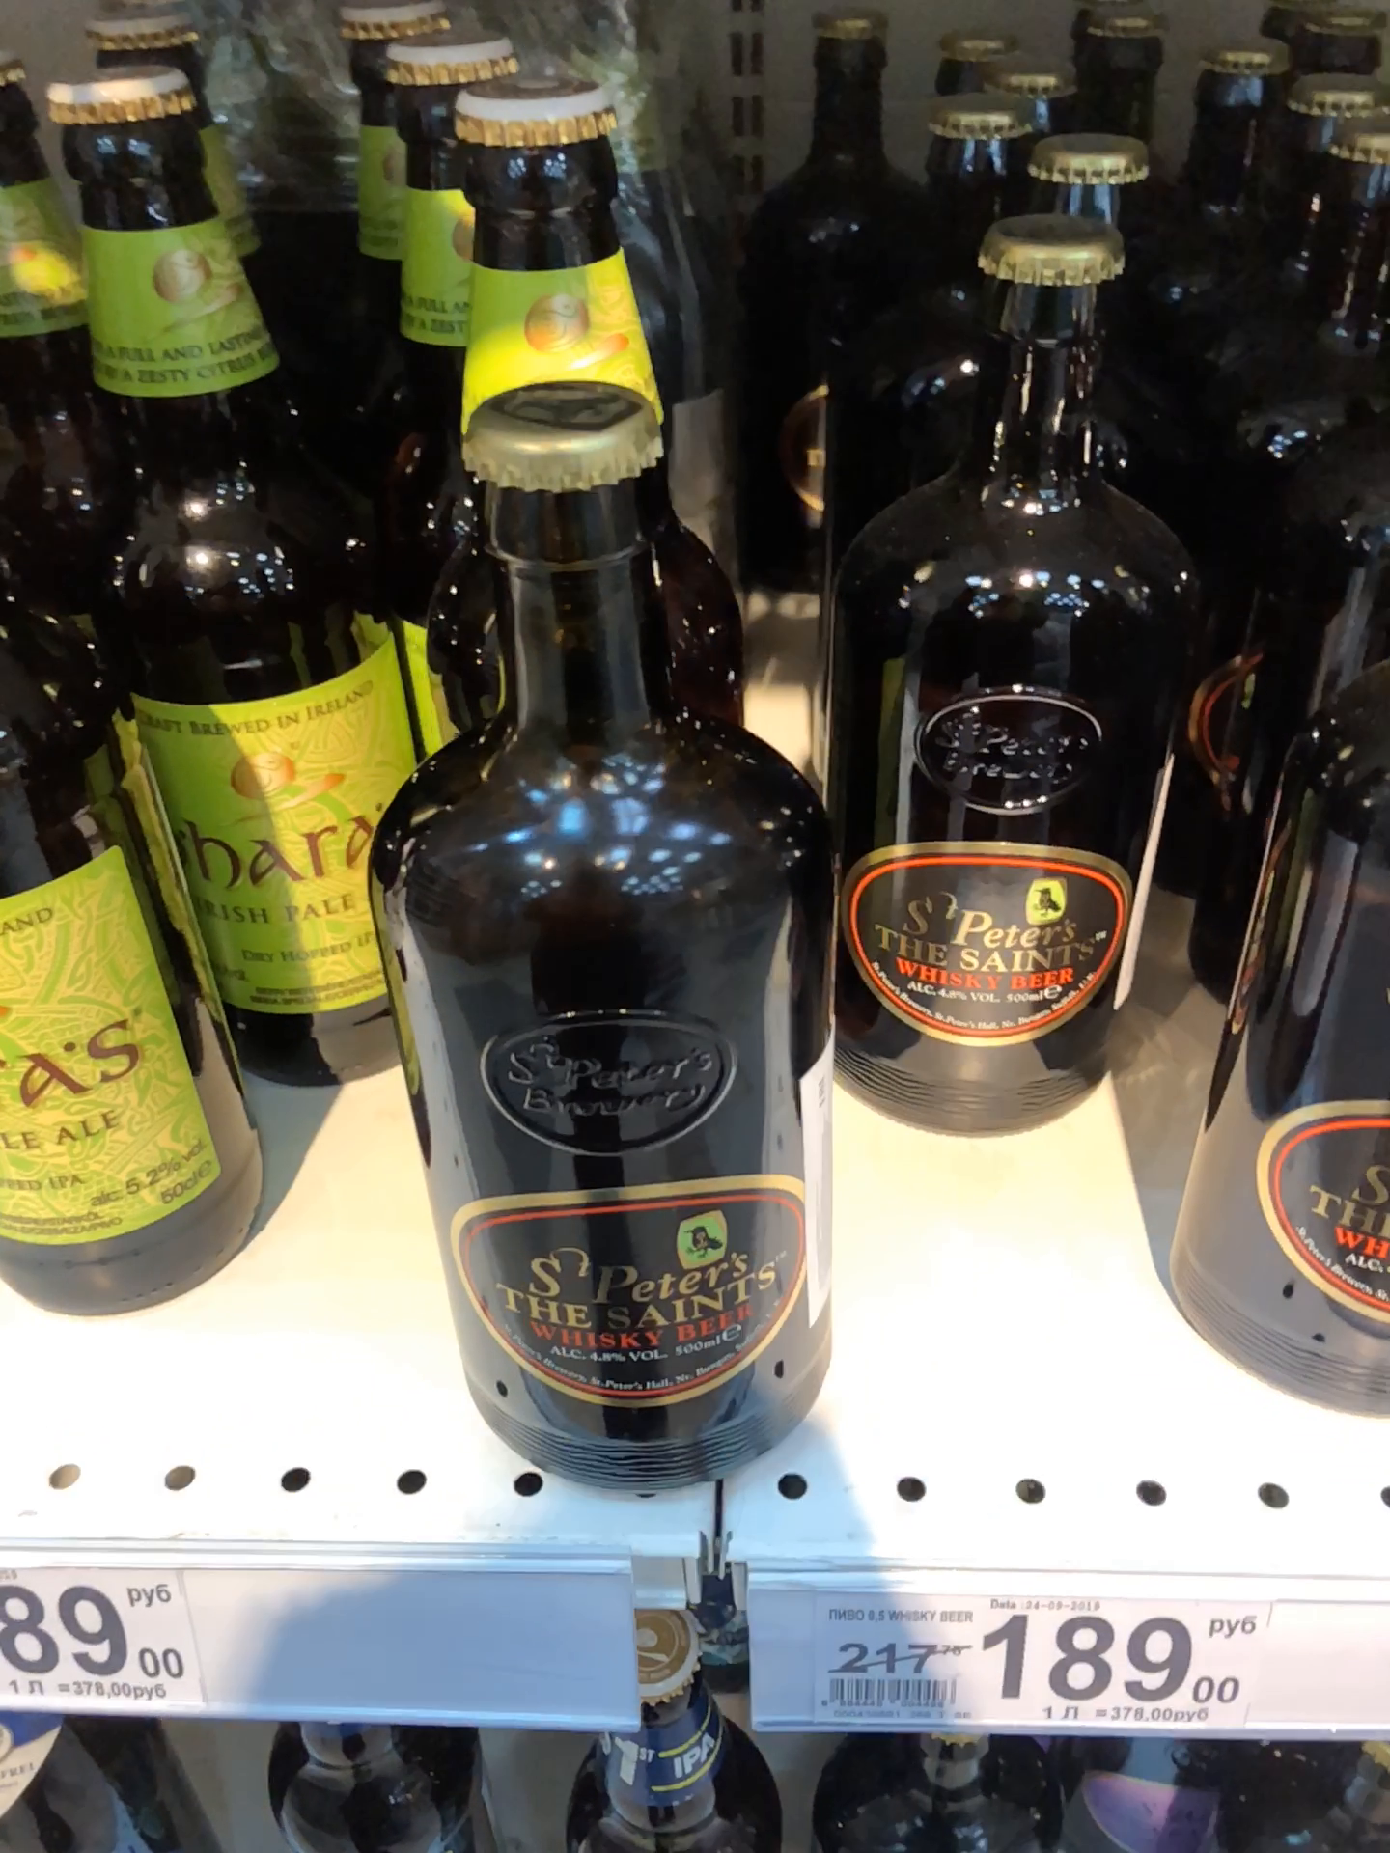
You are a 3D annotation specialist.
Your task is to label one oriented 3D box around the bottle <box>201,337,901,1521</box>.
[{"bbox_3d":[-0.014,0.017,0.288,0.090,0.229,0.060,0,36,3],"label":"bottle"}]
